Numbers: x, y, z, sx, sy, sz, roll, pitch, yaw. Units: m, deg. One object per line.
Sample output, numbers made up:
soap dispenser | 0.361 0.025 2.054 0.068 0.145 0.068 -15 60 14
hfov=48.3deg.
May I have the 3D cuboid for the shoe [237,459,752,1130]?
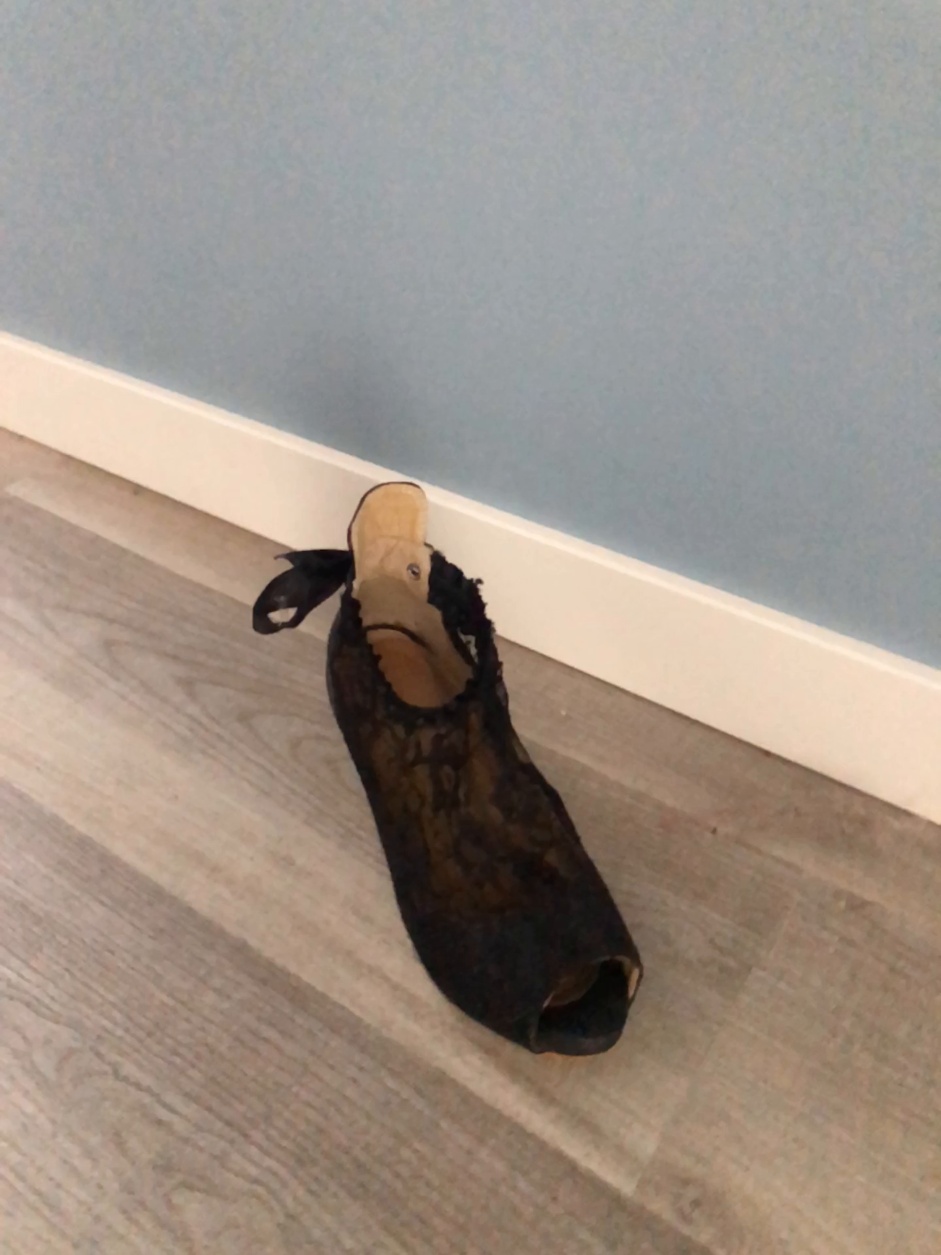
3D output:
shoe | -0.005 0.053 0.433 0.100 0.140 0.221 -18 42 -20
